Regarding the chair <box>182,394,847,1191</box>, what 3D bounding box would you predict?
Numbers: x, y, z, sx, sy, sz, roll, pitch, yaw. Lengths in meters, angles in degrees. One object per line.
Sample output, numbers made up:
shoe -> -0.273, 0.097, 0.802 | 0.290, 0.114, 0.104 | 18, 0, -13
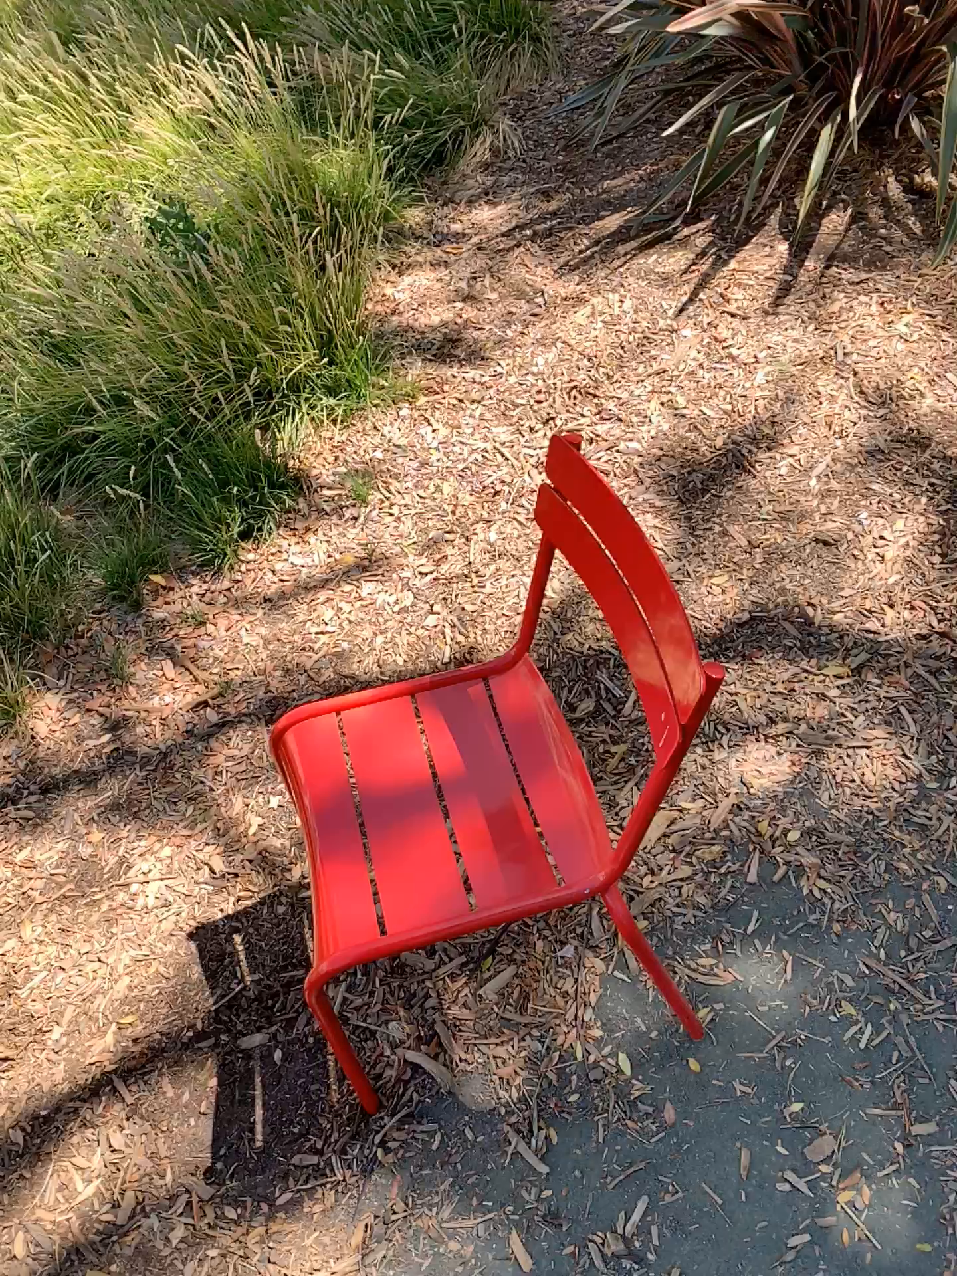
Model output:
chair -> -0.010, 0.211, 1.337 | 0.570, 0.787, 0.613 | -12, 44, -11
